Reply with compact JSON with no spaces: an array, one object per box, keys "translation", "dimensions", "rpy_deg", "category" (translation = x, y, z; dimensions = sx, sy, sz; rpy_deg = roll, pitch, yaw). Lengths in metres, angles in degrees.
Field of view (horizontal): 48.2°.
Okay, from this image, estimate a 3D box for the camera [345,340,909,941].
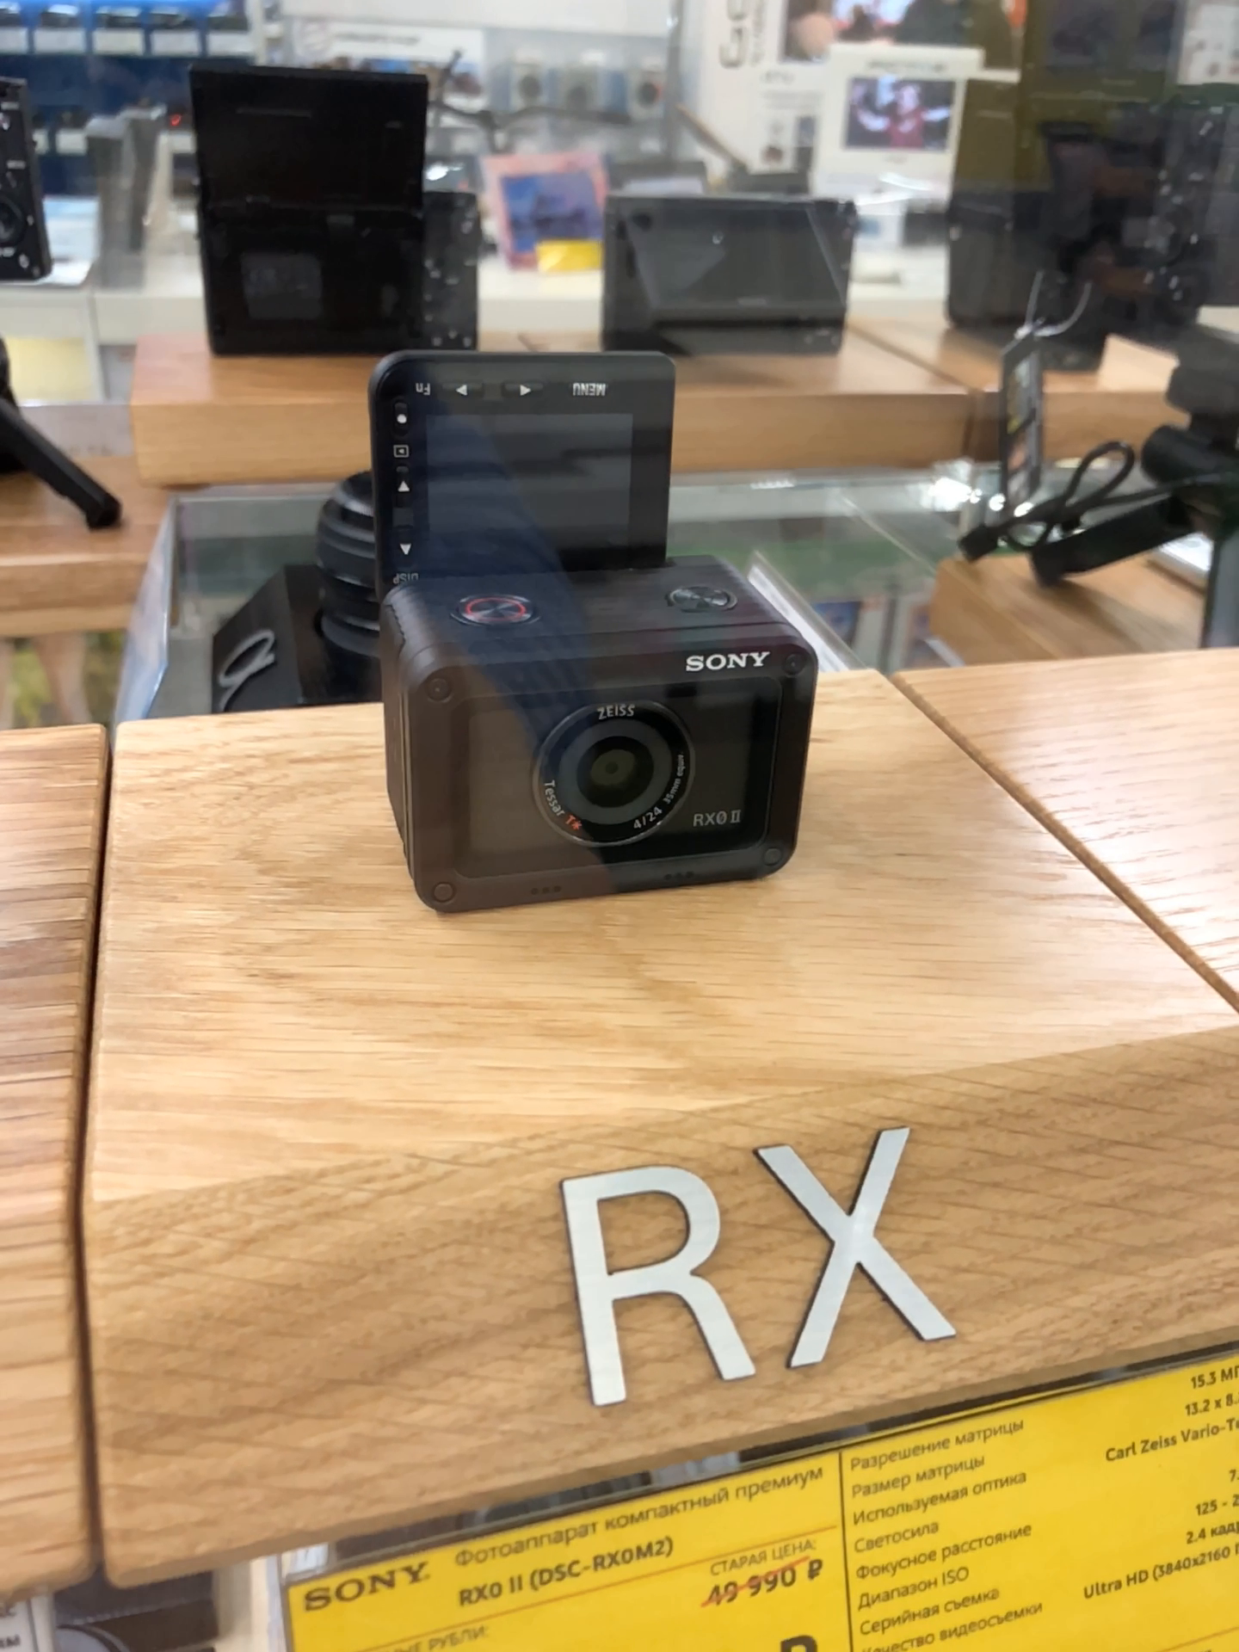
[{"translation":[-0.003,-0.029,0.197],"dimensions":[0.062,0.067,0.050],"rpy_deg":[-6,31,-15],"category":"camera"}]
